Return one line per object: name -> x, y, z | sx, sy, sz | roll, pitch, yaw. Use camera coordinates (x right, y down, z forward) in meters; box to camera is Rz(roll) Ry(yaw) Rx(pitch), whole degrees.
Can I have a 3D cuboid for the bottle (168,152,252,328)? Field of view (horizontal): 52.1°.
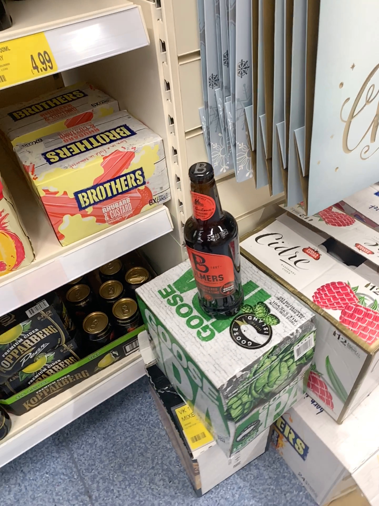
bottle -> 0.037, -0.007, 0.514 | 0.070, 0.234, 0.071 | -5, 43, 5
